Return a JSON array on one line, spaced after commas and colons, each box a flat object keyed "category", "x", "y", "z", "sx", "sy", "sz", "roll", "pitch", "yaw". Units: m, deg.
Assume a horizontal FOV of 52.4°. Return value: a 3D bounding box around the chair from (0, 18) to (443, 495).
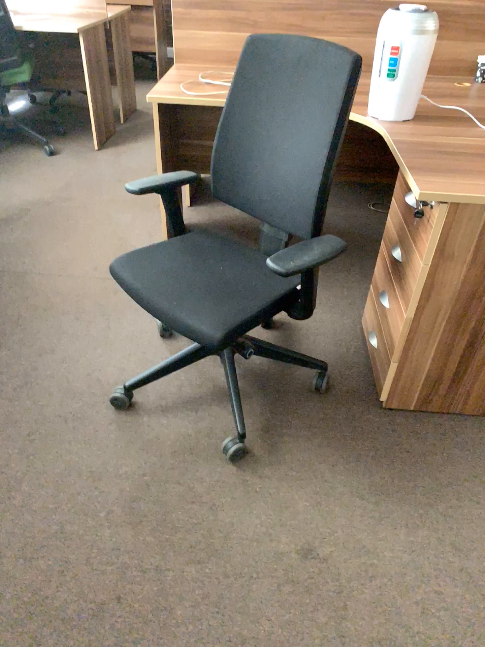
[{"category": "chair", "x": -0.070, "y": -0.249, "z": 1.369, "sx": 0.792, "sy": 0.915, "sz": 0.672, "roll": -30, "pitch": 48, "yaw": -35}]
